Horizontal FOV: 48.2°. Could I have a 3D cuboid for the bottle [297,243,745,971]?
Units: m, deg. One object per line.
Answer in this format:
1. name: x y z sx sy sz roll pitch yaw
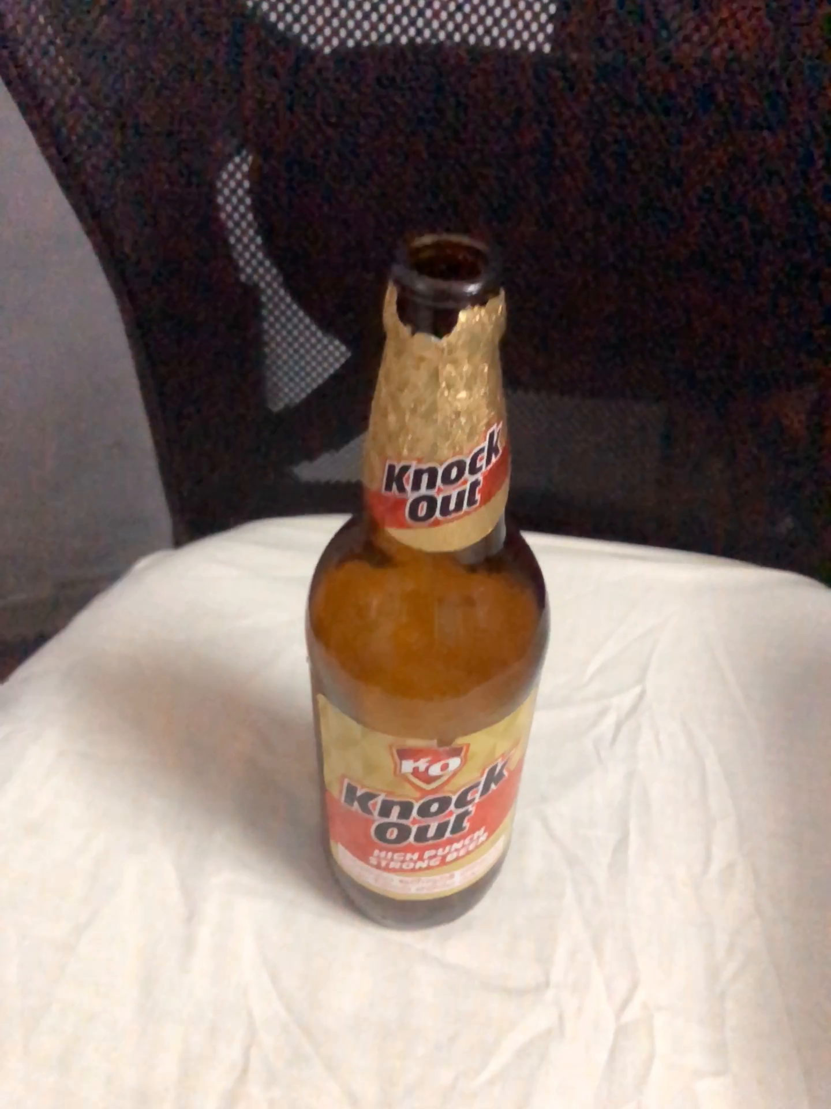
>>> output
1. bottle: 0.010 0.039 0.280 0.080 0.249 0.070 -3 47 -7
